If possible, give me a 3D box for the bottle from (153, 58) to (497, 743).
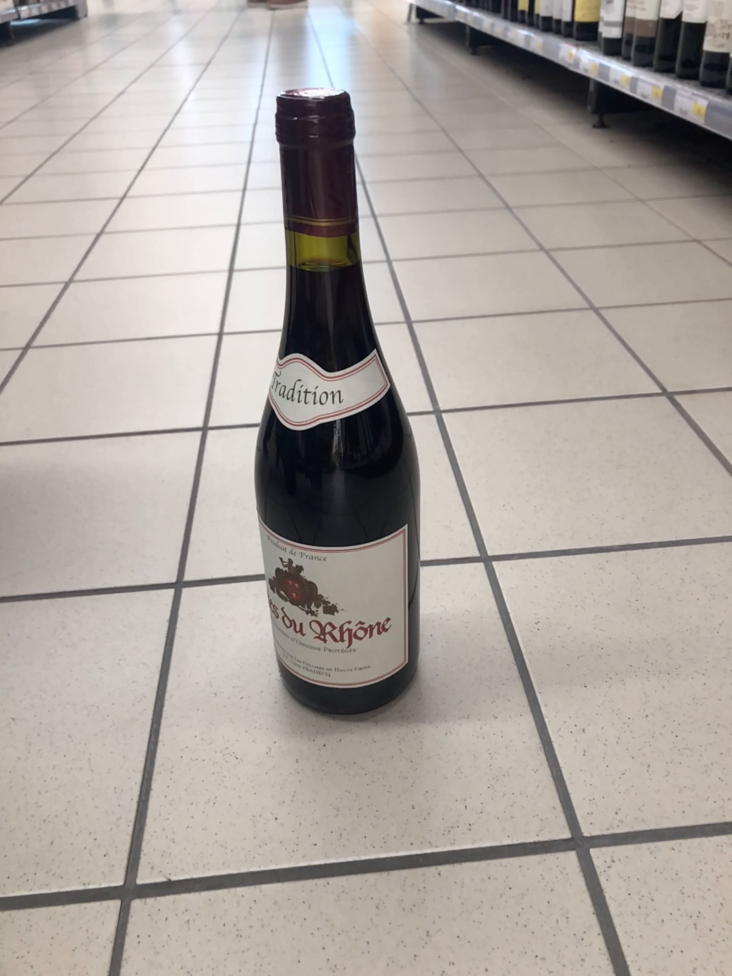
[{"bbox_3d":[-0.007,-0.030,0.372,0.090,0.288,0.091,-2,33,1],"label":"bottle"}]
